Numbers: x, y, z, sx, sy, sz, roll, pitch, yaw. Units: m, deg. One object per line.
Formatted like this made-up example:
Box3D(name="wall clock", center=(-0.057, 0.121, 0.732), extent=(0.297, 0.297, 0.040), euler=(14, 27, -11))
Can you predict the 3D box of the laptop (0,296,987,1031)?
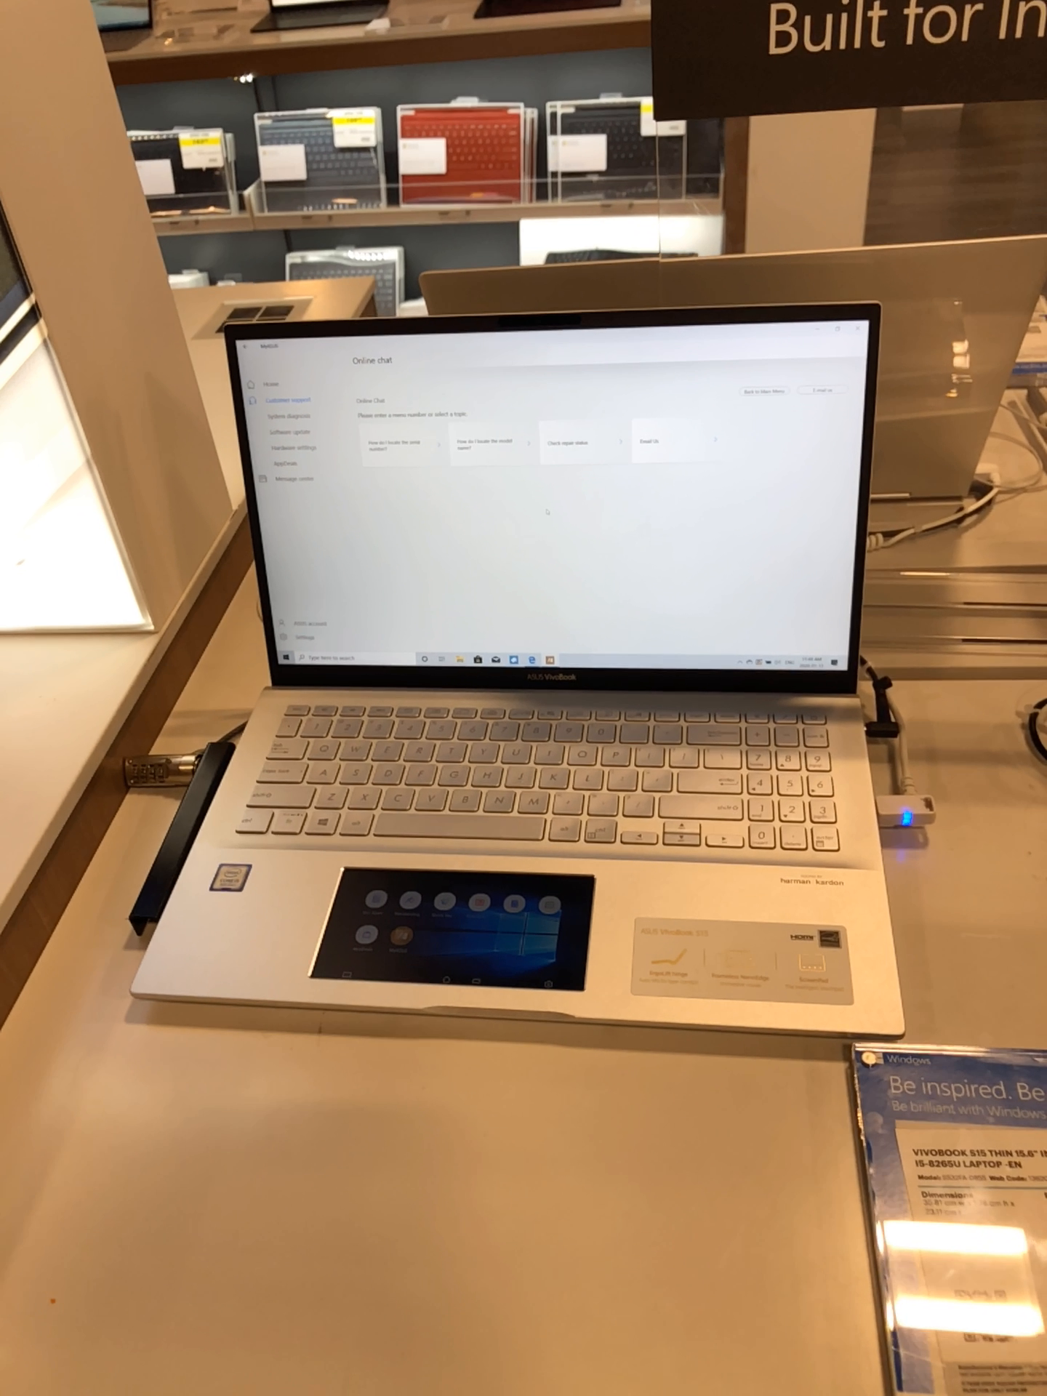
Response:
Box3D(name="laptop", center=(0.003, -0.033, 0.536), extent=(0.330, 0.189, 0.285), euler=(1, 40, 9))
